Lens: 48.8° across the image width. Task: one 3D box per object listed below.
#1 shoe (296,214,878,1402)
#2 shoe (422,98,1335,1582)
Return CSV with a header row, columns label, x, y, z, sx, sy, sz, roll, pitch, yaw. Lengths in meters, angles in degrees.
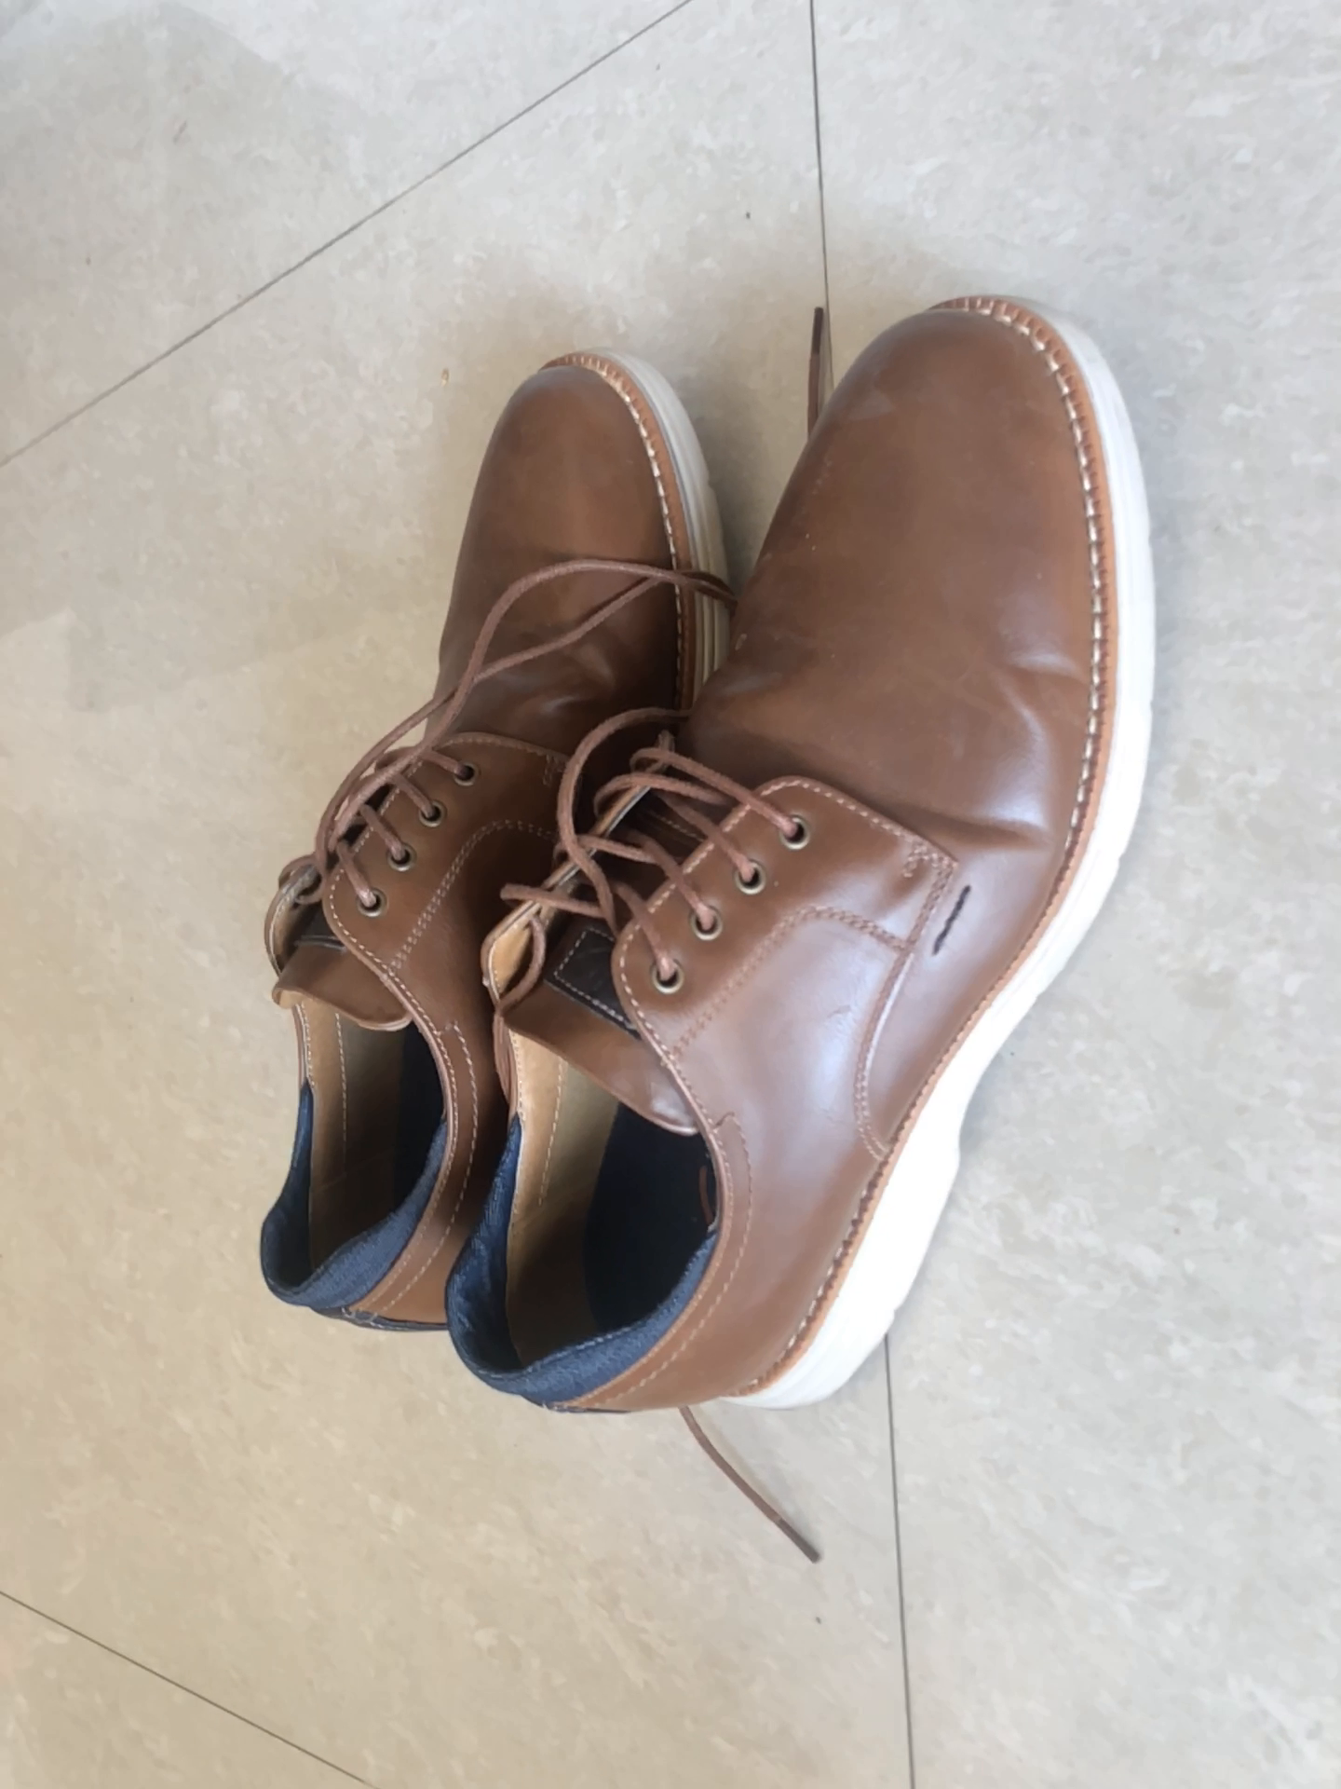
label,x,y,z,sx,sy,sz,roll,pitch,yaw
shoe,-0.027,-0.023,0.453,0.100,0.100,0.310,11,95,43
shoe,0.043,-0.010,0.364,0.100,0.100,0.310,25,105,41
